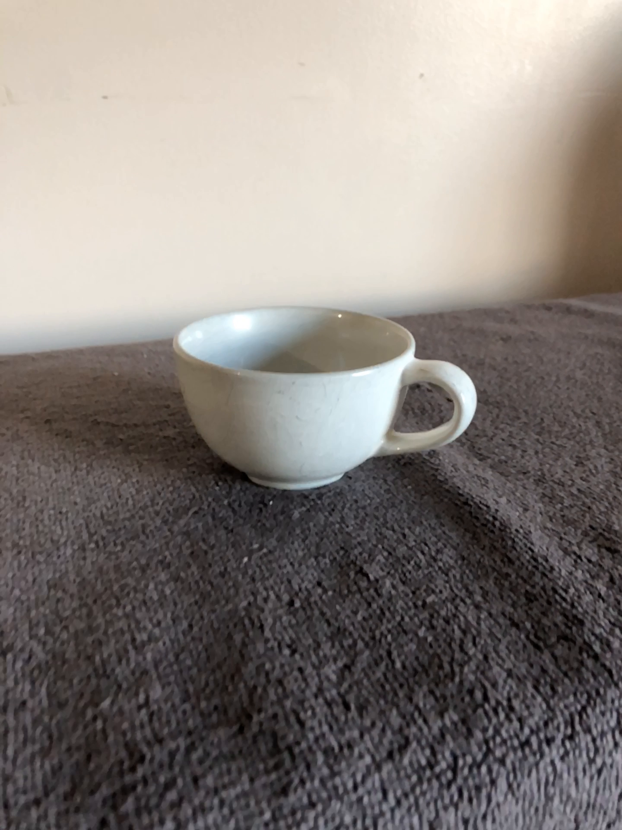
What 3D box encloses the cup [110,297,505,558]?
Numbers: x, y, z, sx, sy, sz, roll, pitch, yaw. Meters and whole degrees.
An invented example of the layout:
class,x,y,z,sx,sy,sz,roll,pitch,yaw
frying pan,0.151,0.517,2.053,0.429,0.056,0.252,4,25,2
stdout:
class,x,y,z,sx,sy,sz,roll,pitch,yaw
cup,0.003,-0.005,0.269,0.120,0.050,0.090,11,26,23
